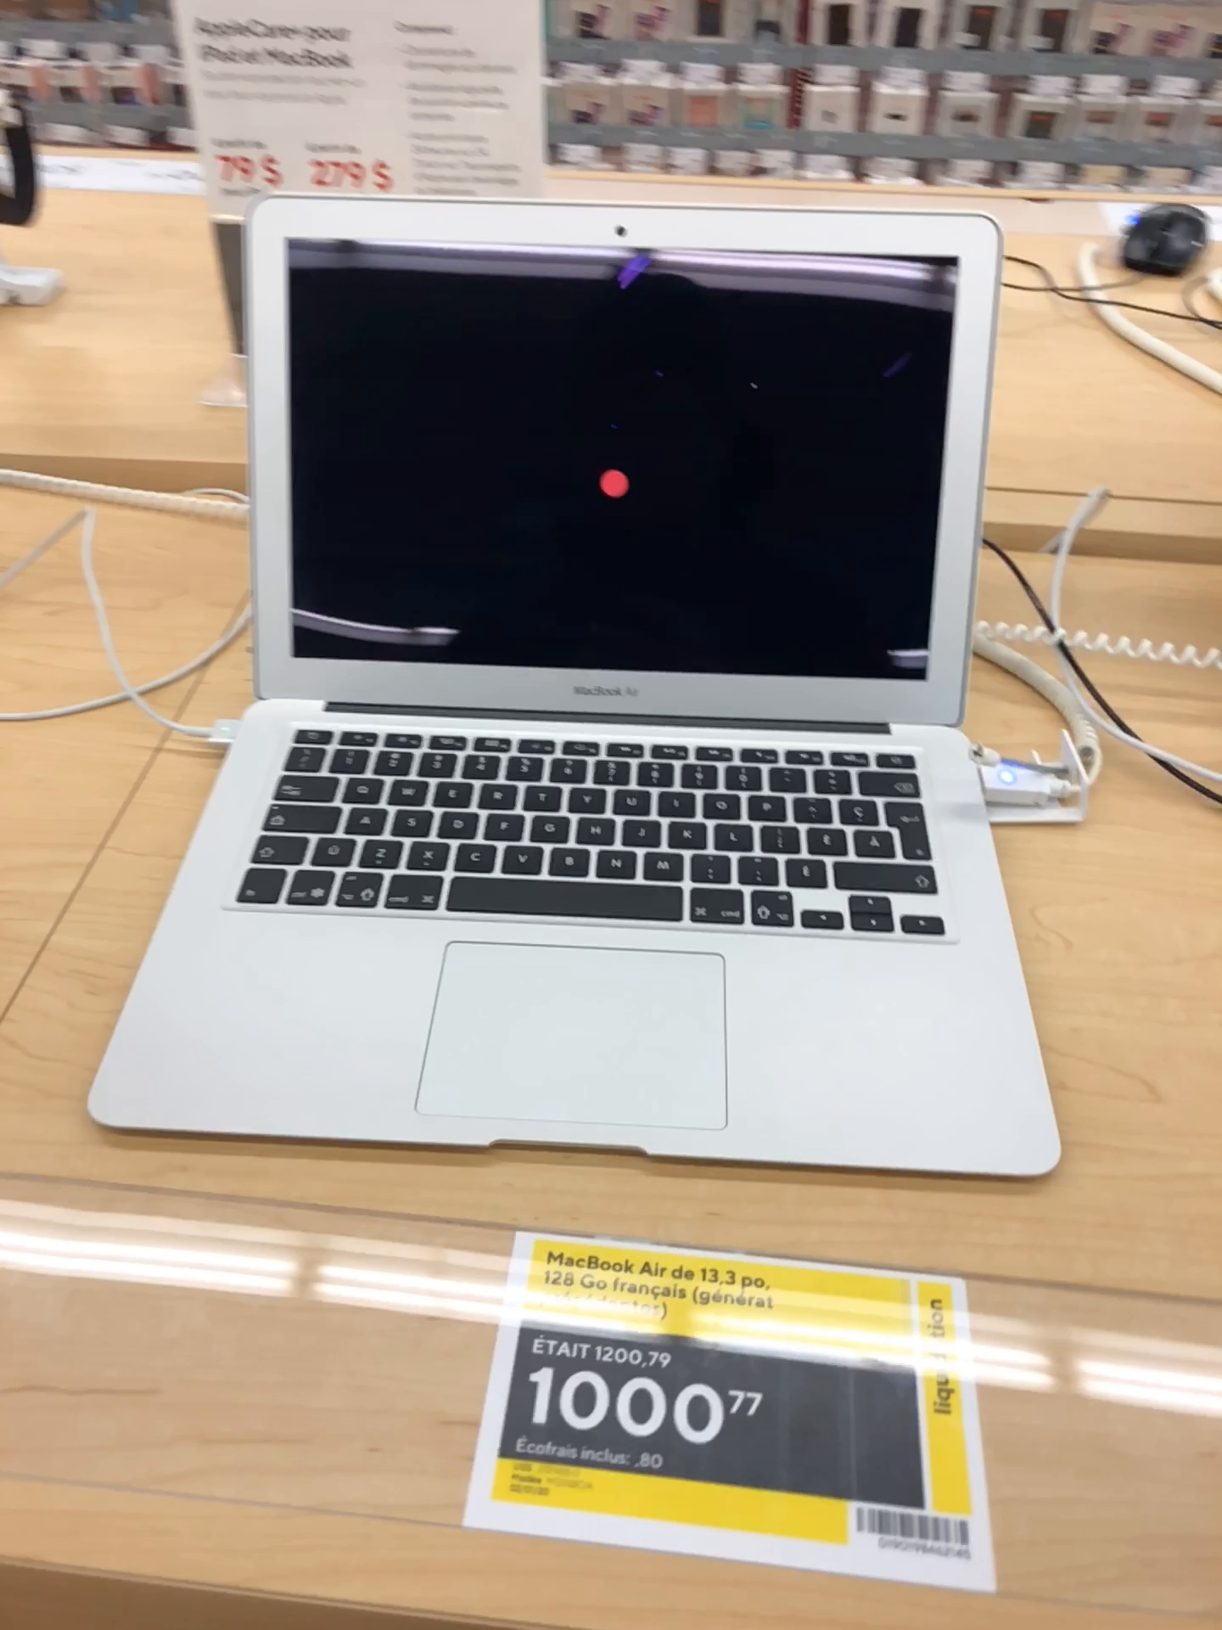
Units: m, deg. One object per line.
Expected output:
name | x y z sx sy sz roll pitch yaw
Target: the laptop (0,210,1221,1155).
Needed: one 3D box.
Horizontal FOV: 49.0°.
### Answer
laptop | -0.005 -0.070 0.490 0.305 0.186 0.326 2 40 0
